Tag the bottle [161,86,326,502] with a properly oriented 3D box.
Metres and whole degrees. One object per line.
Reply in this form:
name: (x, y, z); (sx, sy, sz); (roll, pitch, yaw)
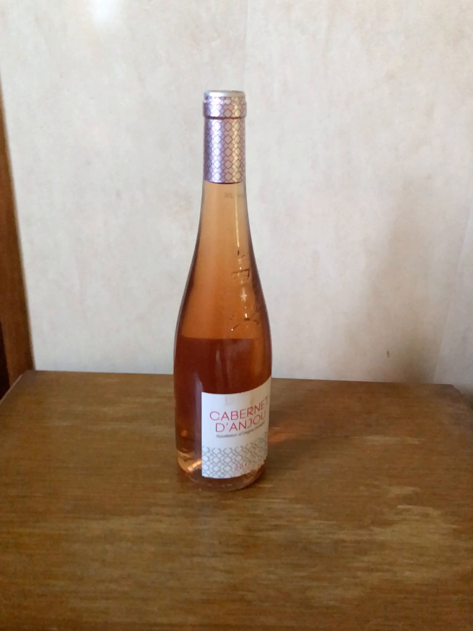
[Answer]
bottle: (-0.005, -0.013, 0.404); (0.080, 0.298, 0.090); (-8, 25, -22)
